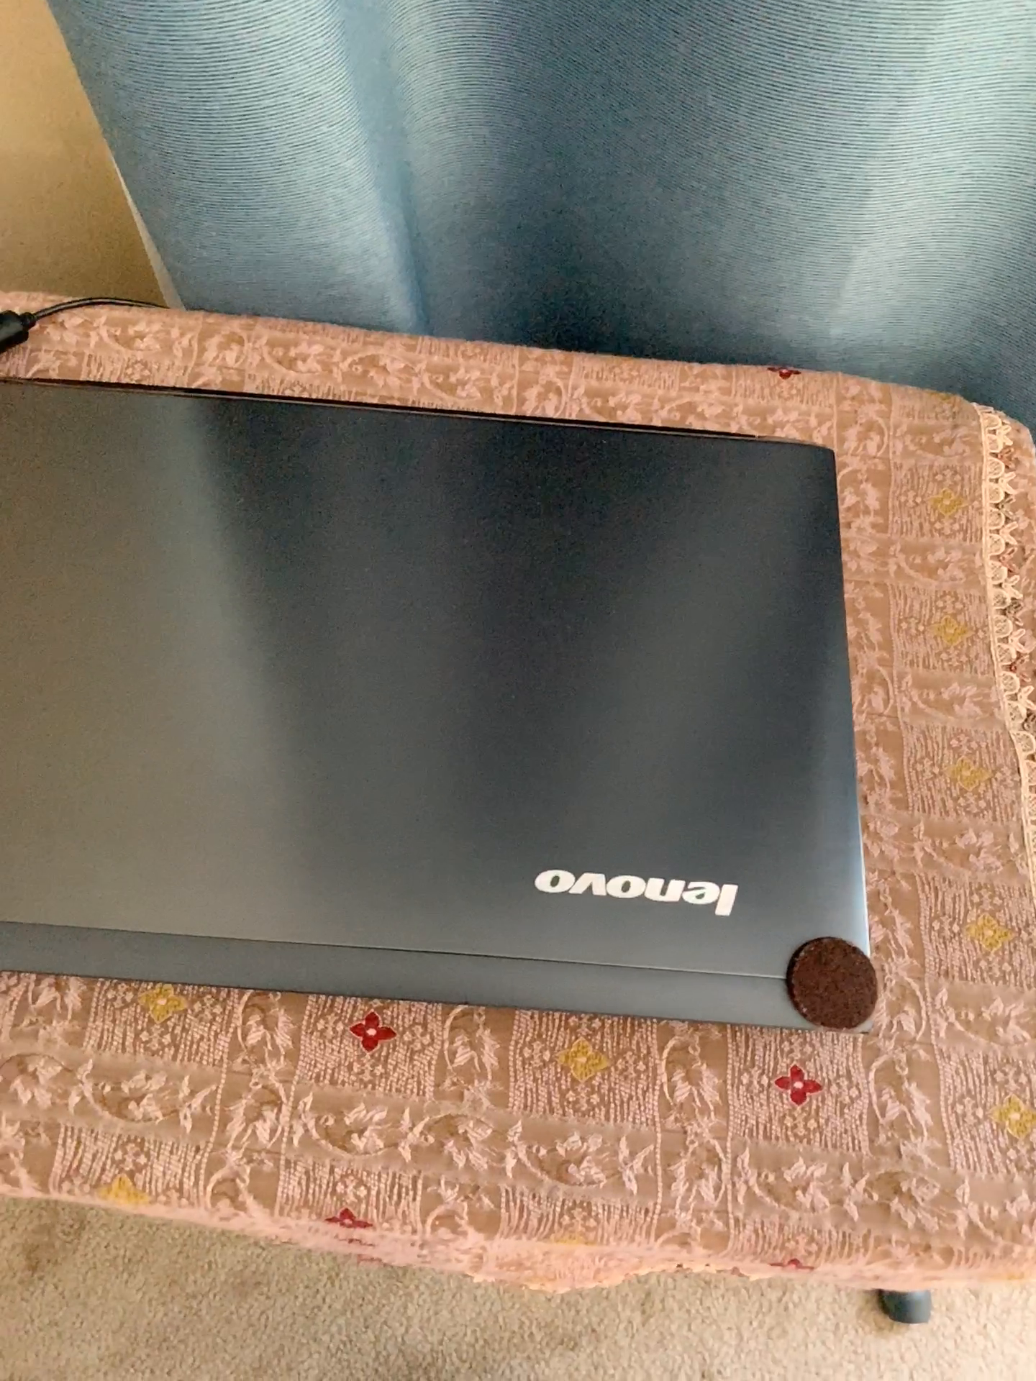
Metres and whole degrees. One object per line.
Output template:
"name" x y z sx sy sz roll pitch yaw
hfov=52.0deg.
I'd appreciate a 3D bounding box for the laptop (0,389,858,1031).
"laptop" -0.060 -0.005 0.387 0.356 0.011 0.223 4 67 1
